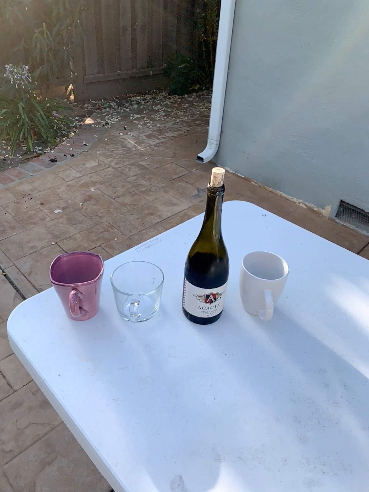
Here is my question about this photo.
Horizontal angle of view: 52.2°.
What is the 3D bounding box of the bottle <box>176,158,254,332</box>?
[{"bbox_3d":[0.043,0.008,0.681,0.080,0.308,0.091,-9,37,-18],"label":"bottle"}]
